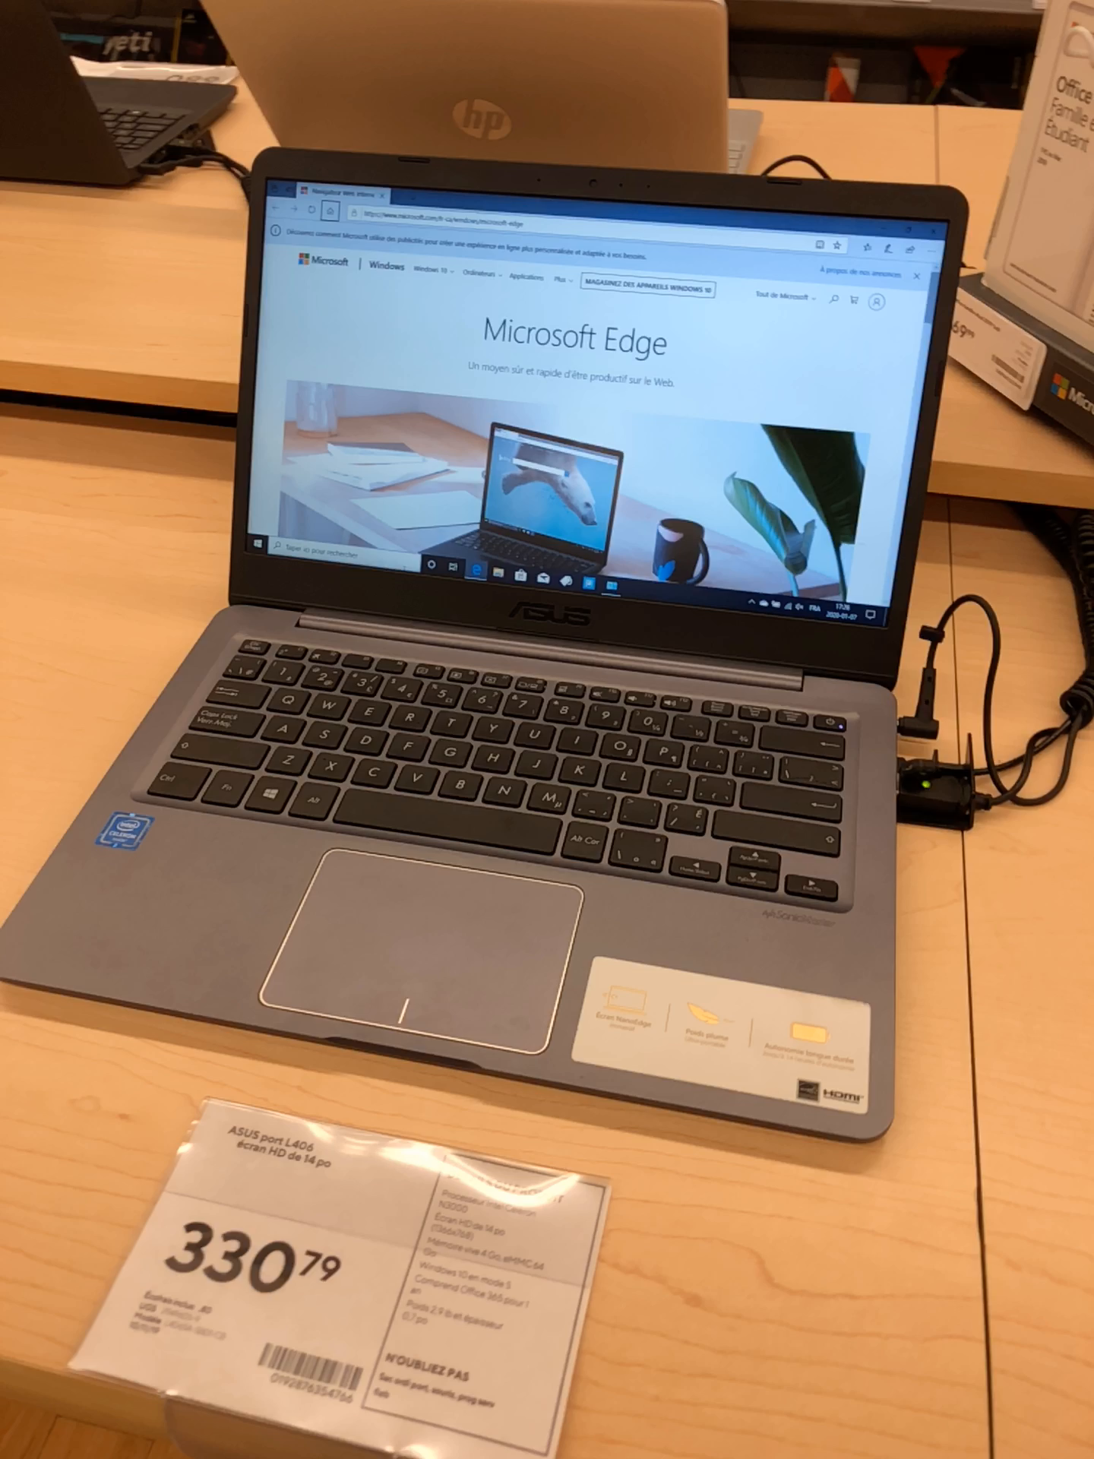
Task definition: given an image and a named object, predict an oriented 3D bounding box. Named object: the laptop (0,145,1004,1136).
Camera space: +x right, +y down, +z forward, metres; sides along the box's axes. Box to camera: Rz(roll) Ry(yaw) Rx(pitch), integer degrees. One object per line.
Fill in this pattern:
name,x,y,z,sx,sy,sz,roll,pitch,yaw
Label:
laptop,-0.013,-0.068,0.465,0.309,0.172,0.328,8,45,10
